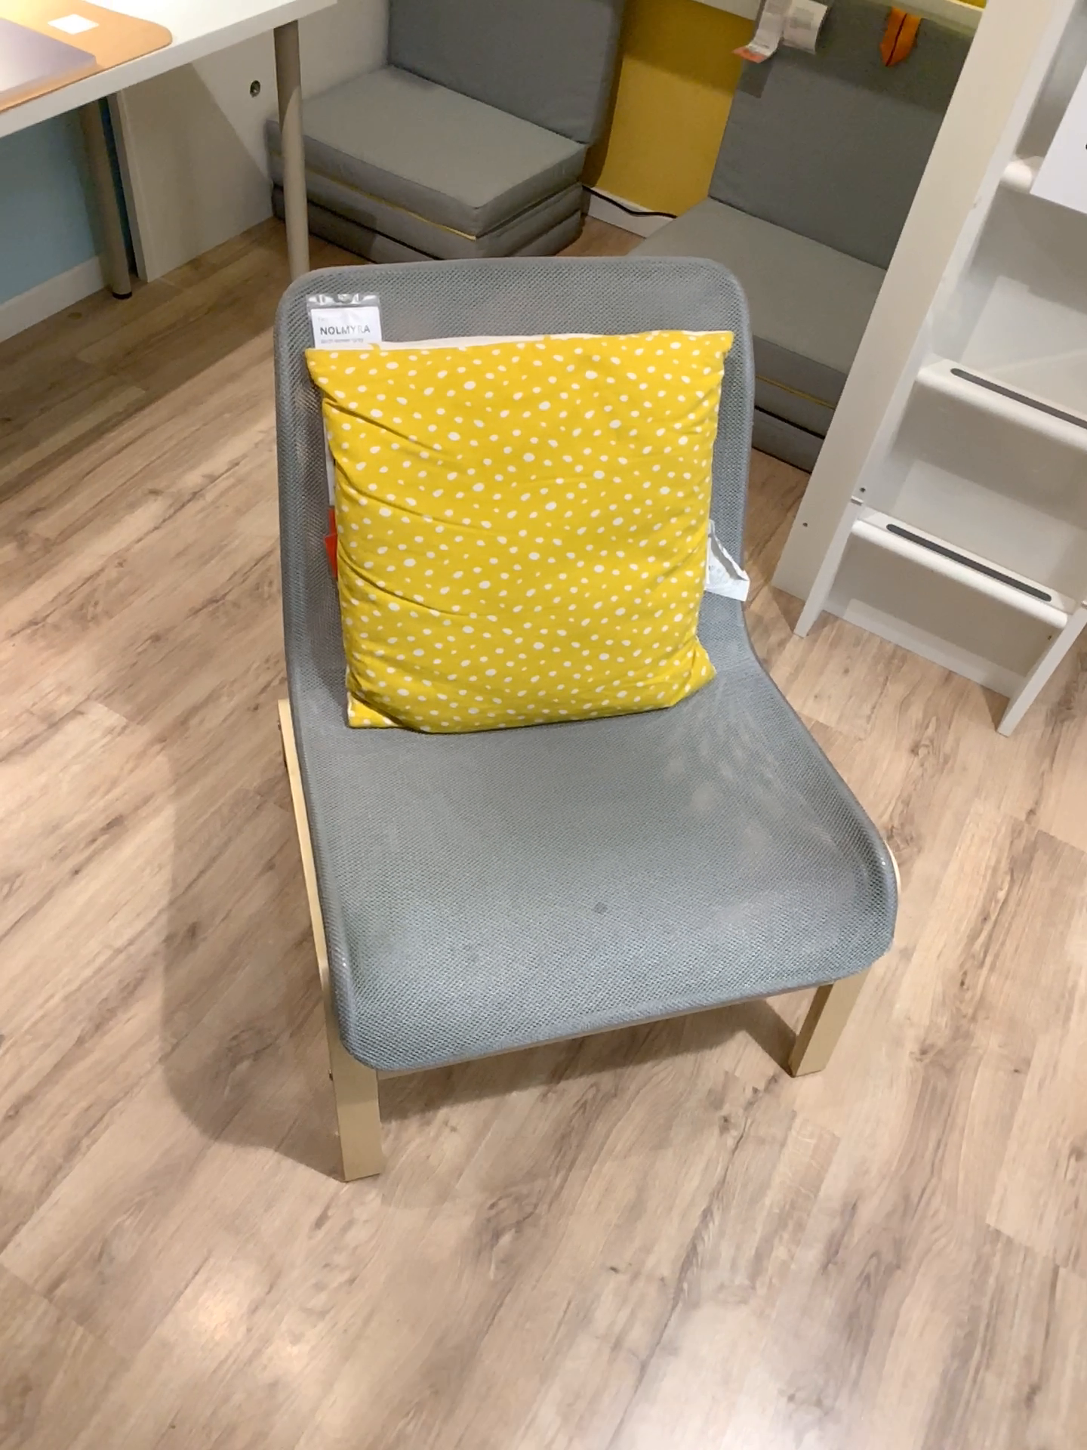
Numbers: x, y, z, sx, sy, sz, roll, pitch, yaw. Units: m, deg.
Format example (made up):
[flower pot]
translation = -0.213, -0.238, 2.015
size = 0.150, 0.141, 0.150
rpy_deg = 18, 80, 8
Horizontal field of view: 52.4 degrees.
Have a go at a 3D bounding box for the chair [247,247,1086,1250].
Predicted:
[chair]
translation = 0.075, 0.005, 1.151
size = 0.630, 0.708, 0.672
rpy_deg = -7, 49, -16
